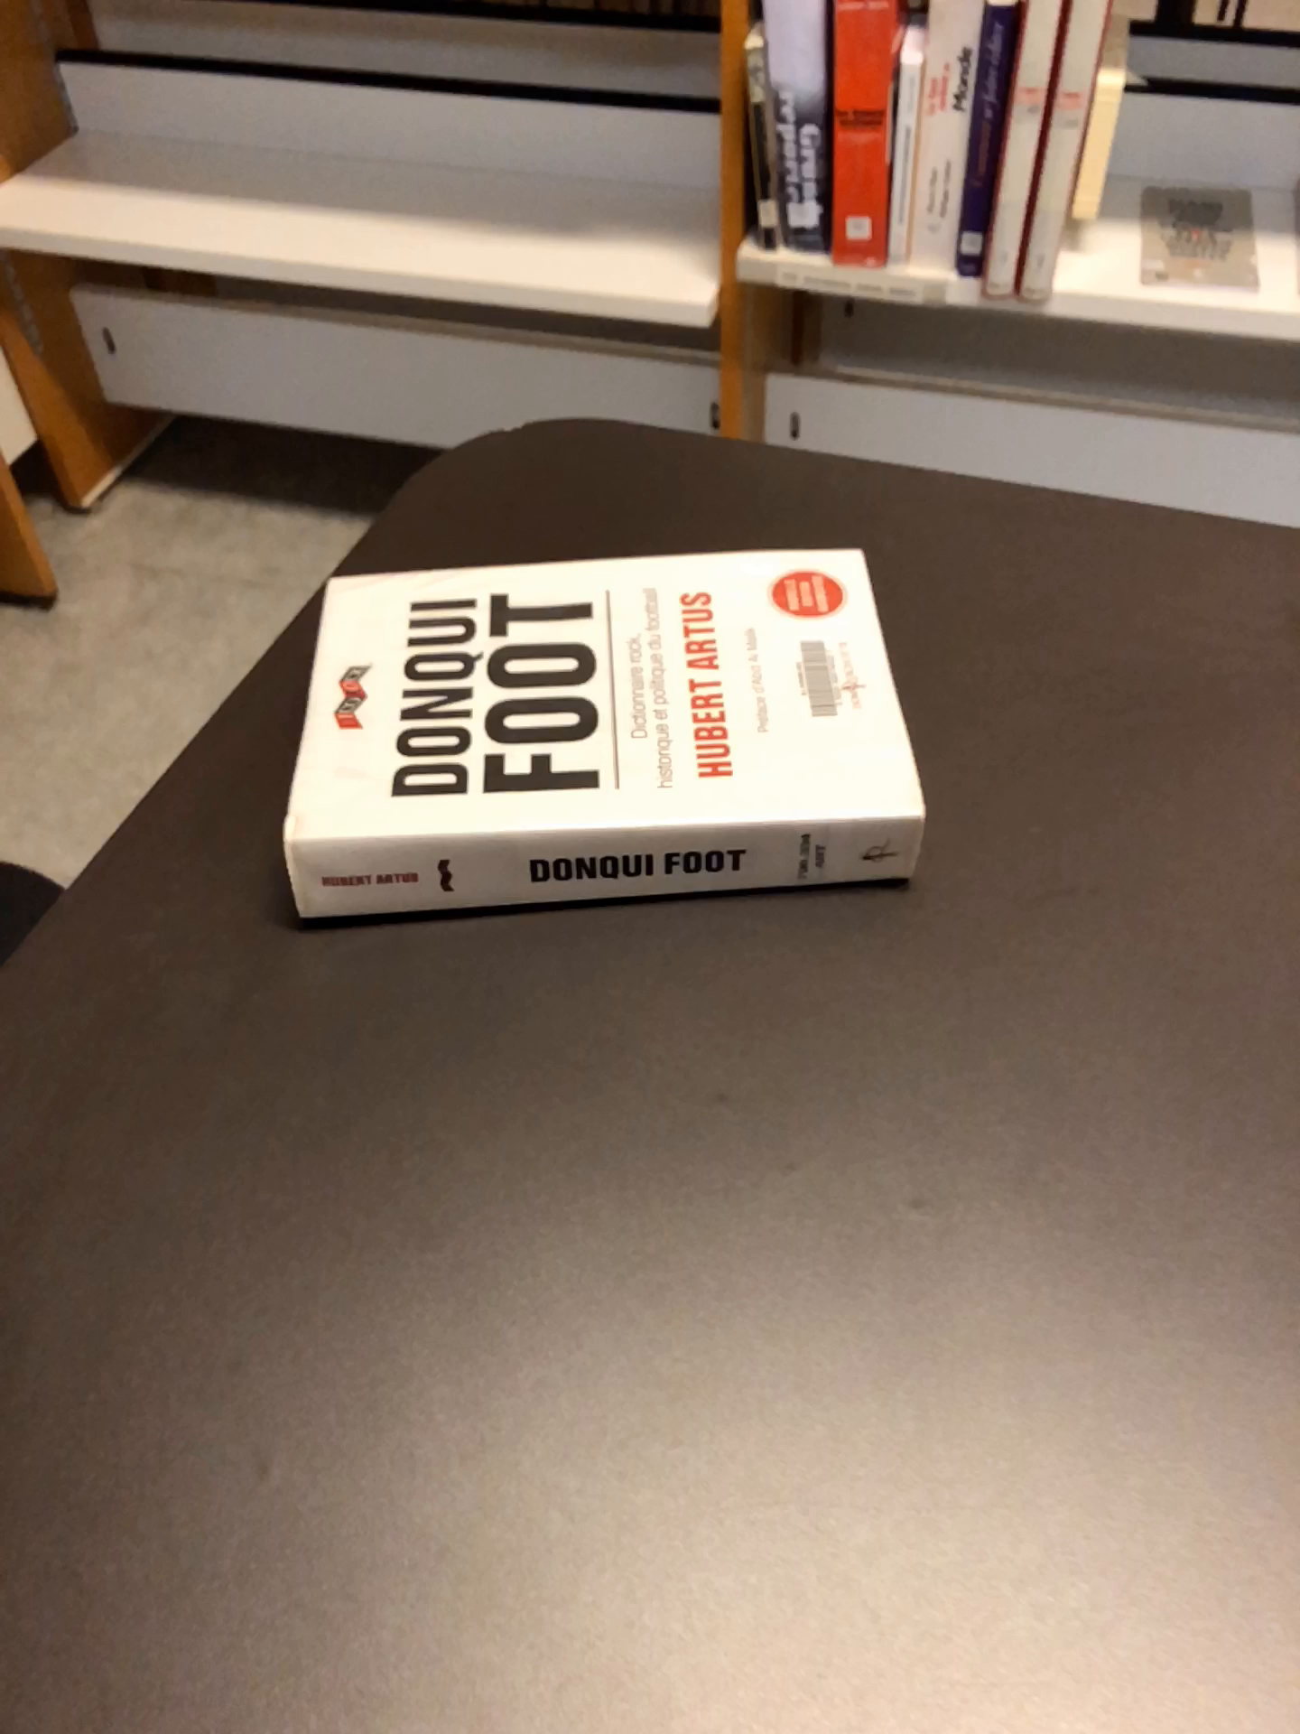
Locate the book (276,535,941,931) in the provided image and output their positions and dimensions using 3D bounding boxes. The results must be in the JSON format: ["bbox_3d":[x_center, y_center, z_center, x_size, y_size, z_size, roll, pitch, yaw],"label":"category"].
[{"bbox_3d":[-0.016,-0.053,0.511,0.207,0.042,0.148,-3,47,-2],"label":"book"}]
